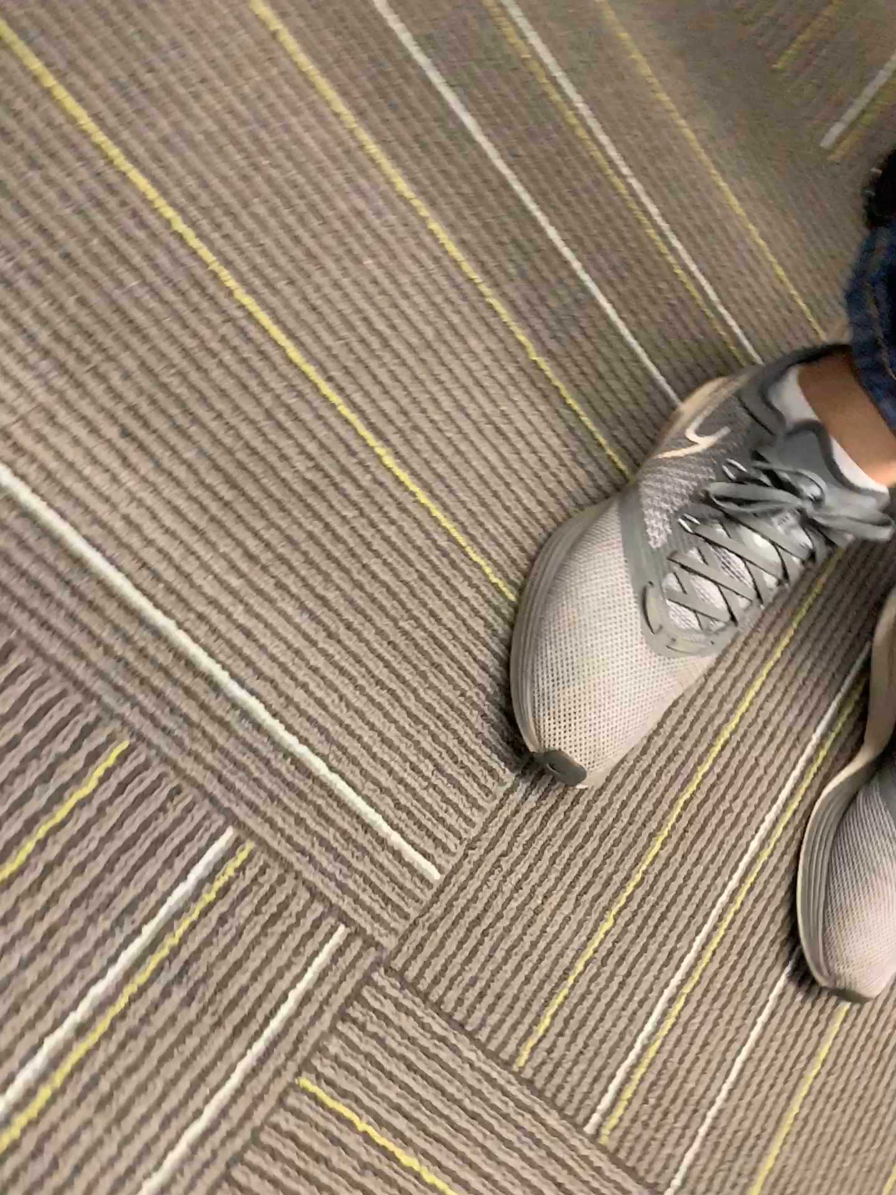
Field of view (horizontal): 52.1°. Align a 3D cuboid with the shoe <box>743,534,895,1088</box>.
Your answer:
[{"bbox_3d":[0.320,0.121,0.581,0.121,0.123,0.290,32,73,-23],"label":"shoe"}]

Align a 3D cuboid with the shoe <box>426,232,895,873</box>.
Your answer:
[{"bbox_3d":[0.137,-0.027,0.483,0.121,0.123,0.290,41,70,-20],"label":"shoe"}]
